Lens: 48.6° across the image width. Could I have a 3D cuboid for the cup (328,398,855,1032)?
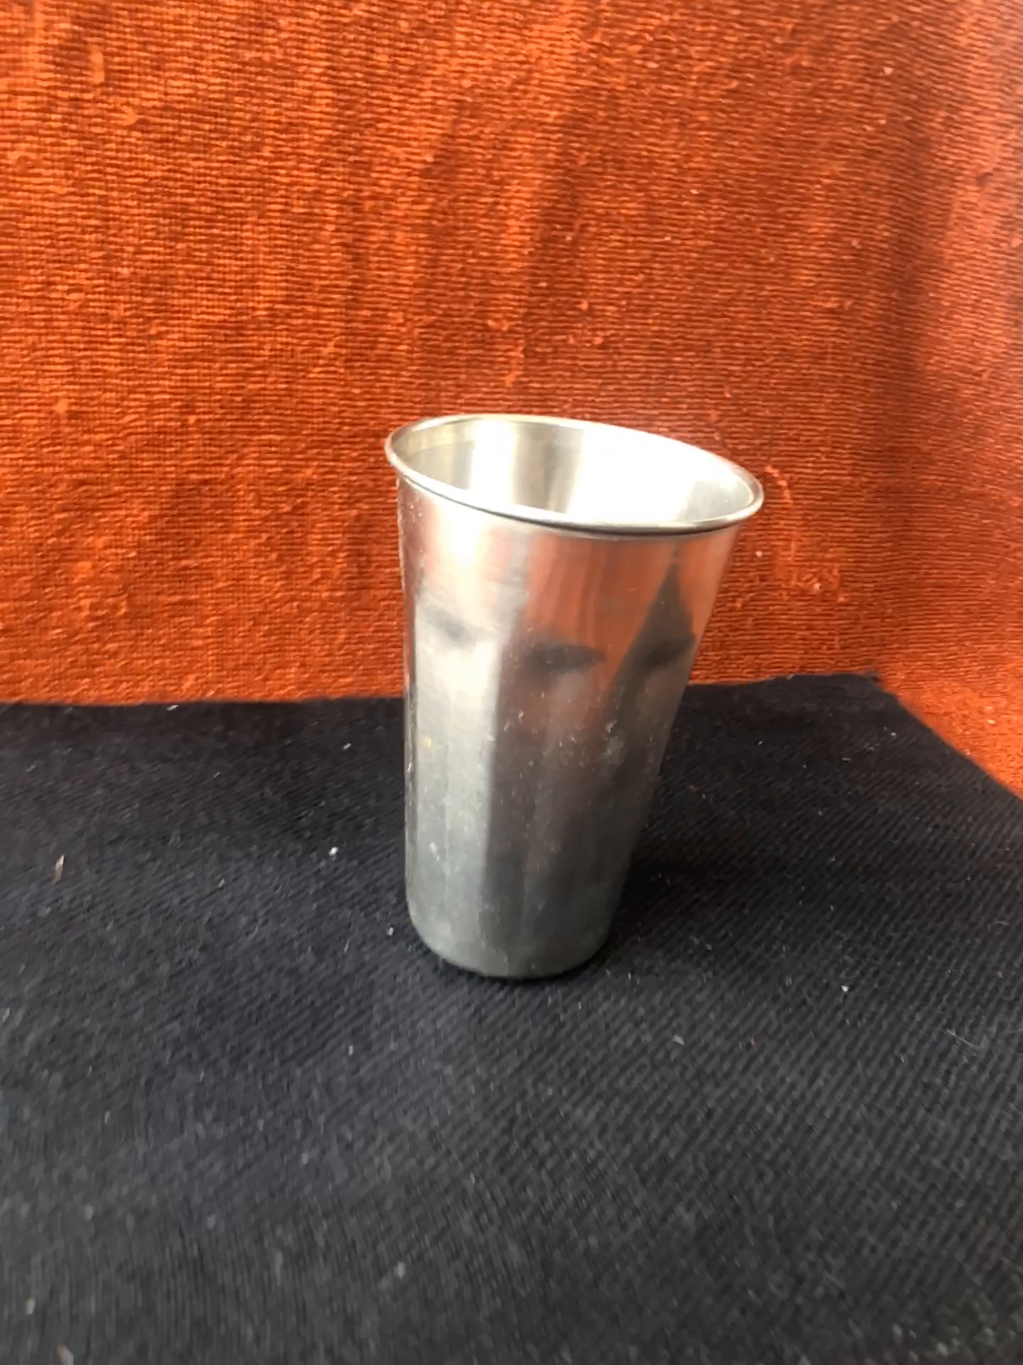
[{"bbox_3d":[0.008,0.002,0.229,0.070,0.099,0.070,6,25,-3],"label":"cup"}]
